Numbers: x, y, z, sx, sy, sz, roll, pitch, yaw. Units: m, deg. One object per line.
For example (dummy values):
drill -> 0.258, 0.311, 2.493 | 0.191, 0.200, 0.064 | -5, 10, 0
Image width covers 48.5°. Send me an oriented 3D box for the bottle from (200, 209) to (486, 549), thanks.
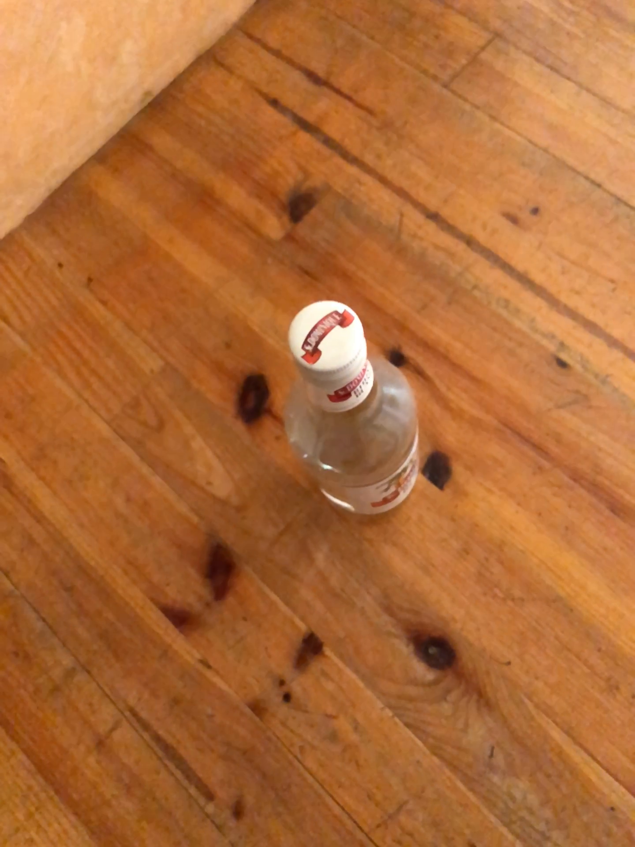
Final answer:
bottle -> 0.028, 0.000, 0.404 | 0.080, 0.260, 0.090 | 28, 80, 15
